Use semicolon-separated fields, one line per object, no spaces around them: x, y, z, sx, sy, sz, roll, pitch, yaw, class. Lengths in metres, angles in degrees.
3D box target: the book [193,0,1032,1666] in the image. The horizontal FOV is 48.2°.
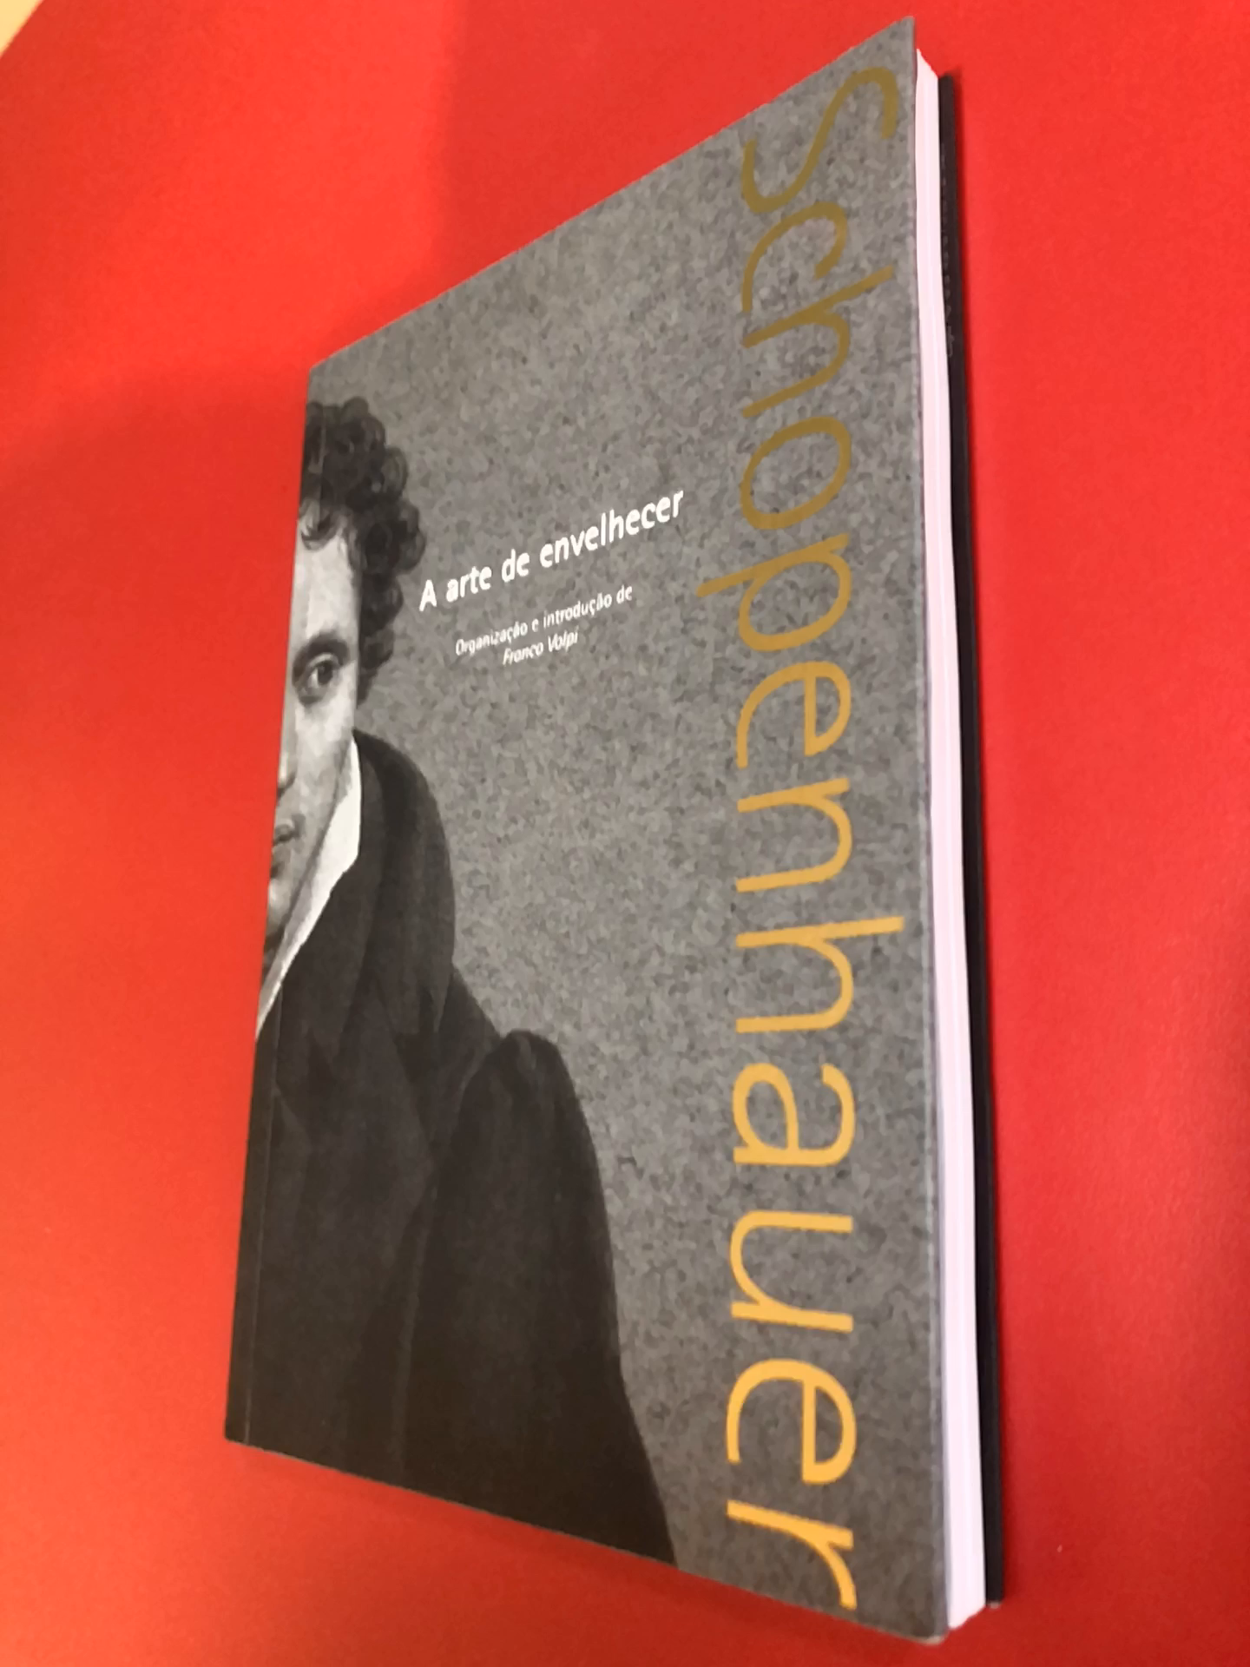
-0.011;-0.002;0.207;0.137;0.017;0.196;-10;74;42;book
